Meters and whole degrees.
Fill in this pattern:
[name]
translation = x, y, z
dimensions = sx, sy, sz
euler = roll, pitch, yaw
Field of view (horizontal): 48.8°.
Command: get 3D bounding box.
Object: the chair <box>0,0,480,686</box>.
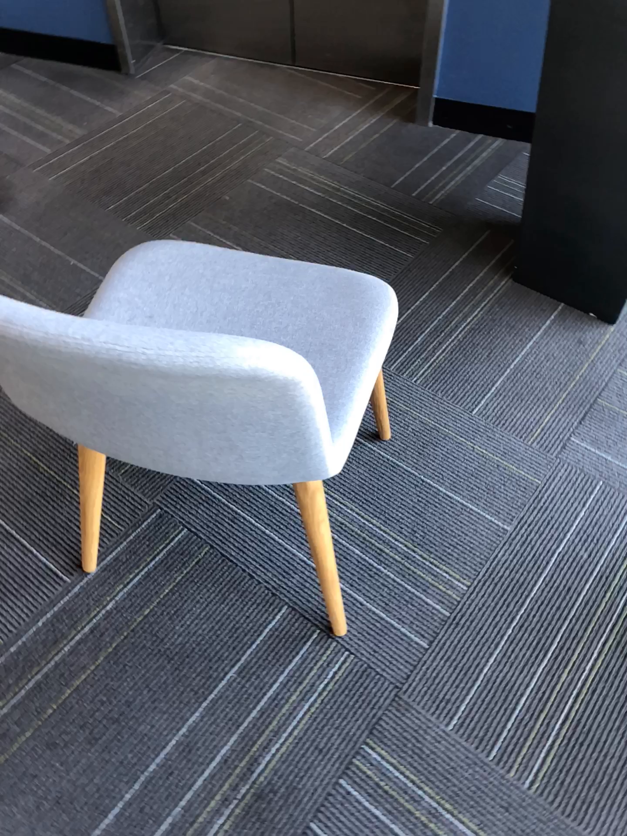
[chair]
translation = -0.152, -0.098, 1.040
dimensions = 0.560, 0.847, 0.612
euler = 13, 56, 11
